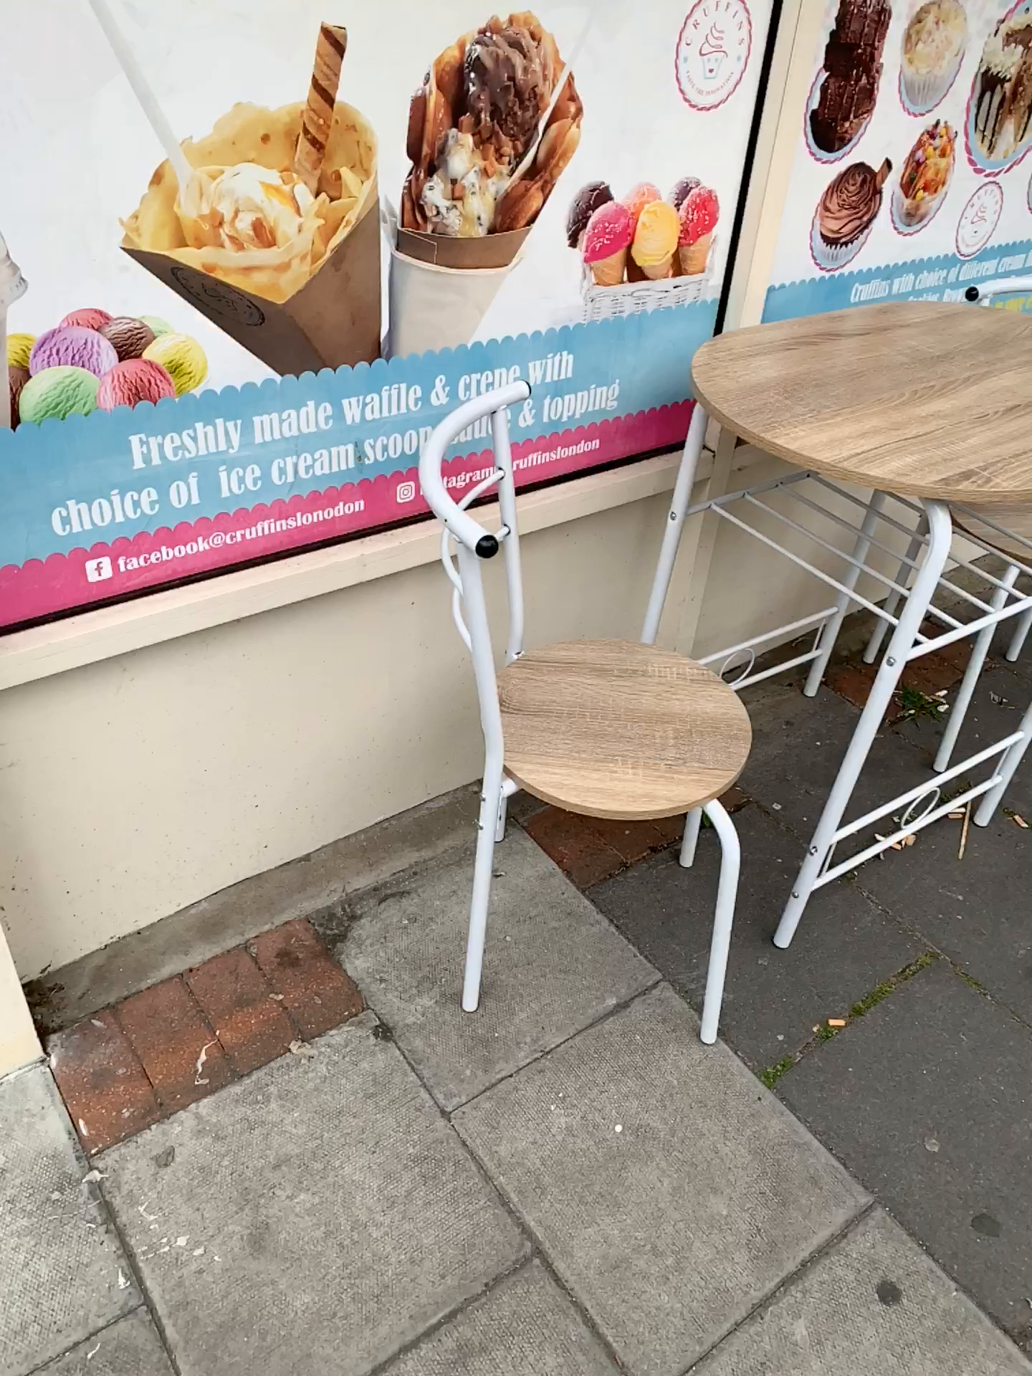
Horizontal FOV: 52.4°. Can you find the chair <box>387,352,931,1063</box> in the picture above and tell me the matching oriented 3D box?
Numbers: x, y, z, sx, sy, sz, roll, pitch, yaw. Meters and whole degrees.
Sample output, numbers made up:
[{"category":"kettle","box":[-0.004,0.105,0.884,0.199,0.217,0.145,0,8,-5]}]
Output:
[{"category":"chair","box":[0.095,0.034,1.386,0.500,0.752,0.535,1,36,-5]}]
